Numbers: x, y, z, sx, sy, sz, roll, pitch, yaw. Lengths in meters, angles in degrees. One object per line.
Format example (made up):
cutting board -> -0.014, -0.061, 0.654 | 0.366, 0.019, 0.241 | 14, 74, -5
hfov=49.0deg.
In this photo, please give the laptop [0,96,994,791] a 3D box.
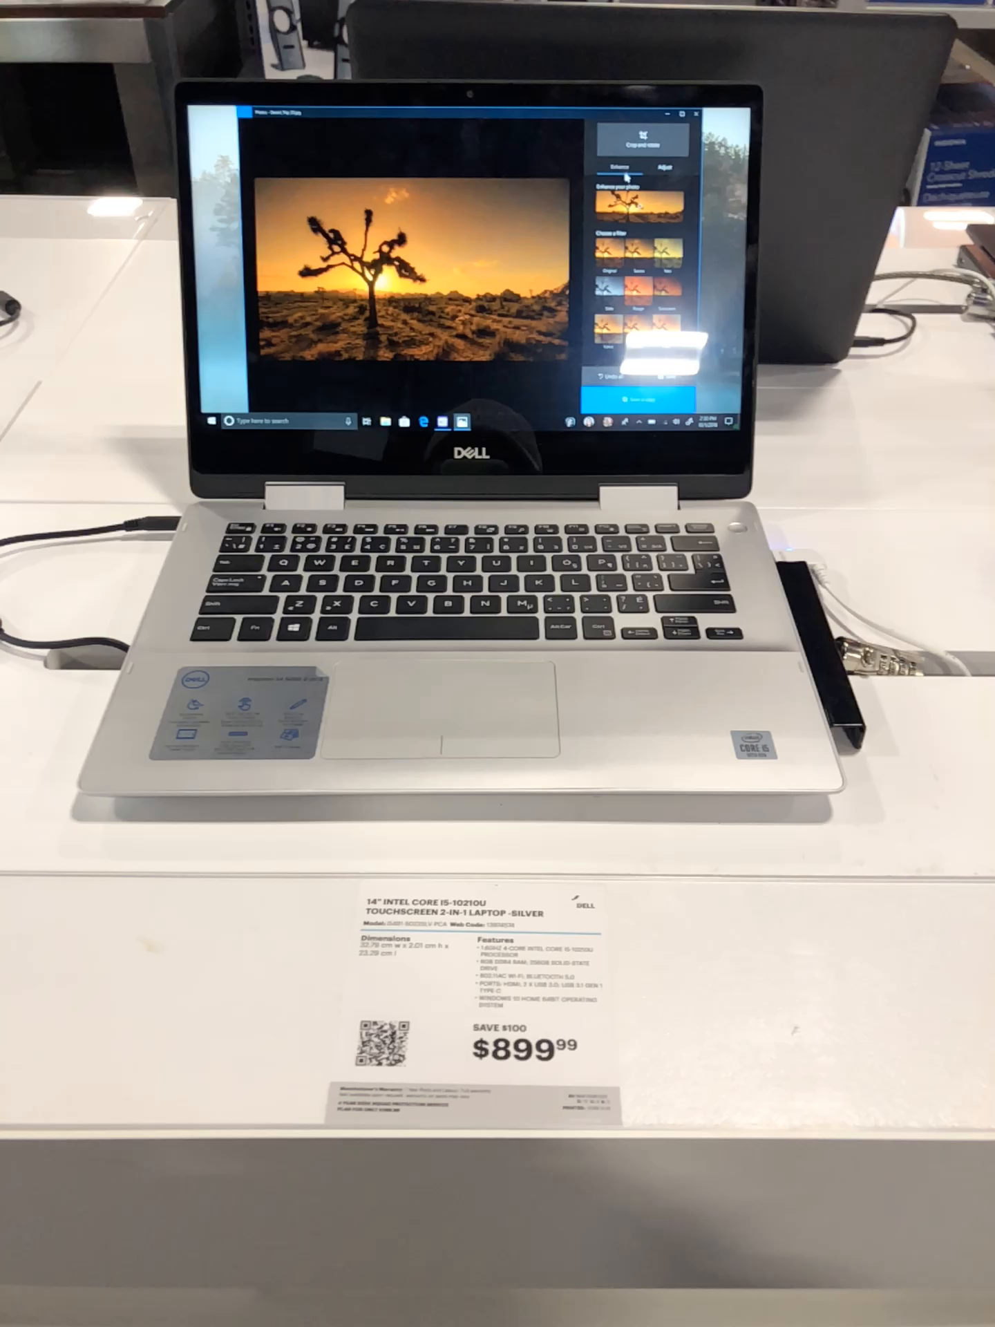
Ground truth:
laptop -> 0.004, -0.125, 0.518 | 0.311, 0.195, 0.328 | 0, 39, 2
